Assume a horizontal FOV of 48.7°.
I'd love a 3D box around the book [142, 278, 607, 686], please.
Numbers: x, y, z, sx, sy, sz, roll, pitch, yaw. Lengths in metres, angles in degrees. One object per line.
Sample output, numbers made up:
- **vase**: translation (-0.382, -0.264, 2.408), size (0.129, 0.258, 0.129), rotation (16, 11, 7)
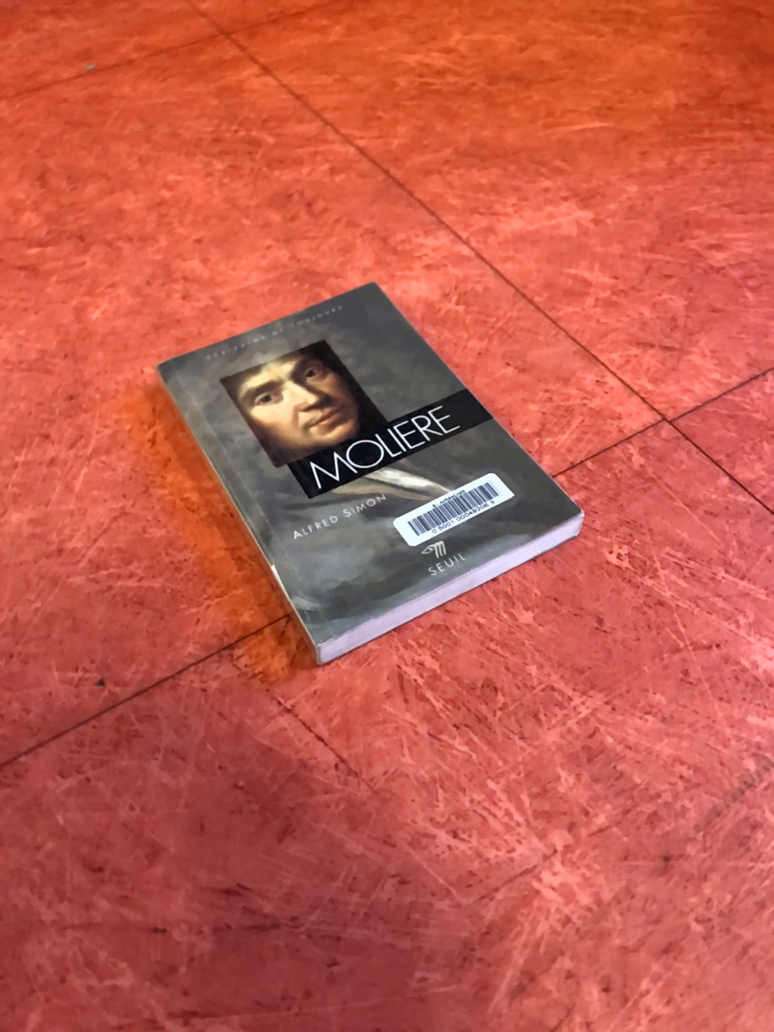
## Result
- **book**: translation (-0.014, -0.030, 0.383), size (0.134, 0.015, 0.183), rotation (-25, 55, -16)
